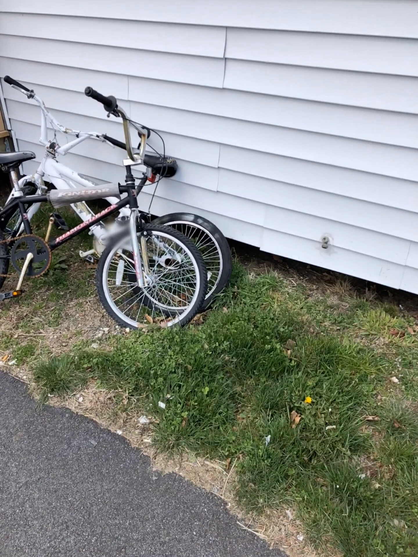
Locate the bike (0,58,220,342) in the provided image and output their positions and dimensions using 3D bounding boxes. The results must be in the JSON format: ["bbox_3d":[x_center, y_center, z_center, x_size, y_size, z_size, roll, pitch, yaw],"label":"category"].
[{"bbox_3d":[-0.627,-0.358,1.927,1.294,0.932,0.762,2,32,4],"label":"bike"}]
